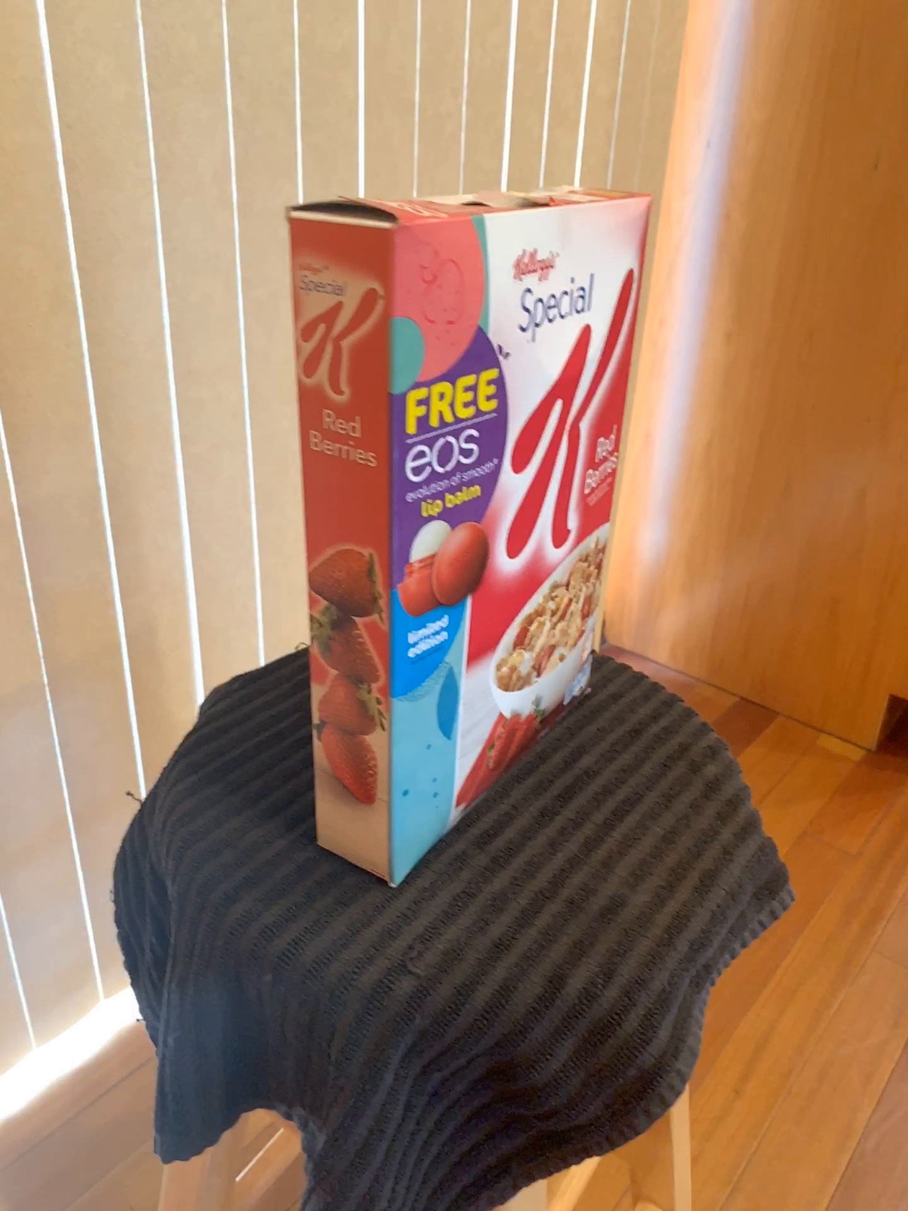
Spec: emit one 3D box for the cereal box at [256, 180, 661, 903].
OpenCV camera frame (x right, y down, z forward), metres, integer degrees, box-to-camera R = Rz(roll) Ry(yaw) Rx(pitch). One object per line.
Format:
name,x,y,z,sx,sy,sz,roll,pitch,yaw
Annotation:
cereal box,0.010,-0.040,0.423,0.050,0.268,0.211,19,31,28
